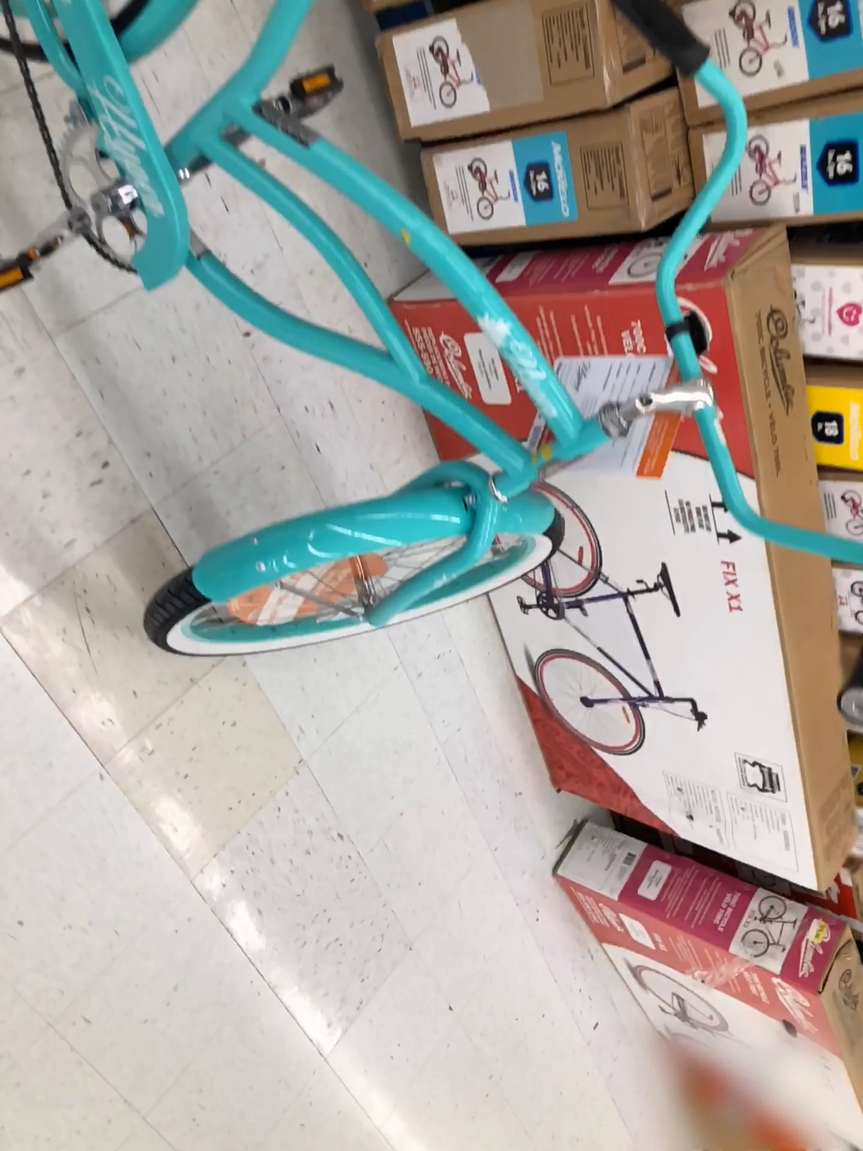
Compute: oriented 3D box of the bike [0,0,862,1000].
[{"bbox_3d":[-0.039,-0.526,0.993,0.853,1.152,1.587,-52,129,-27],"label":"bike"}]
